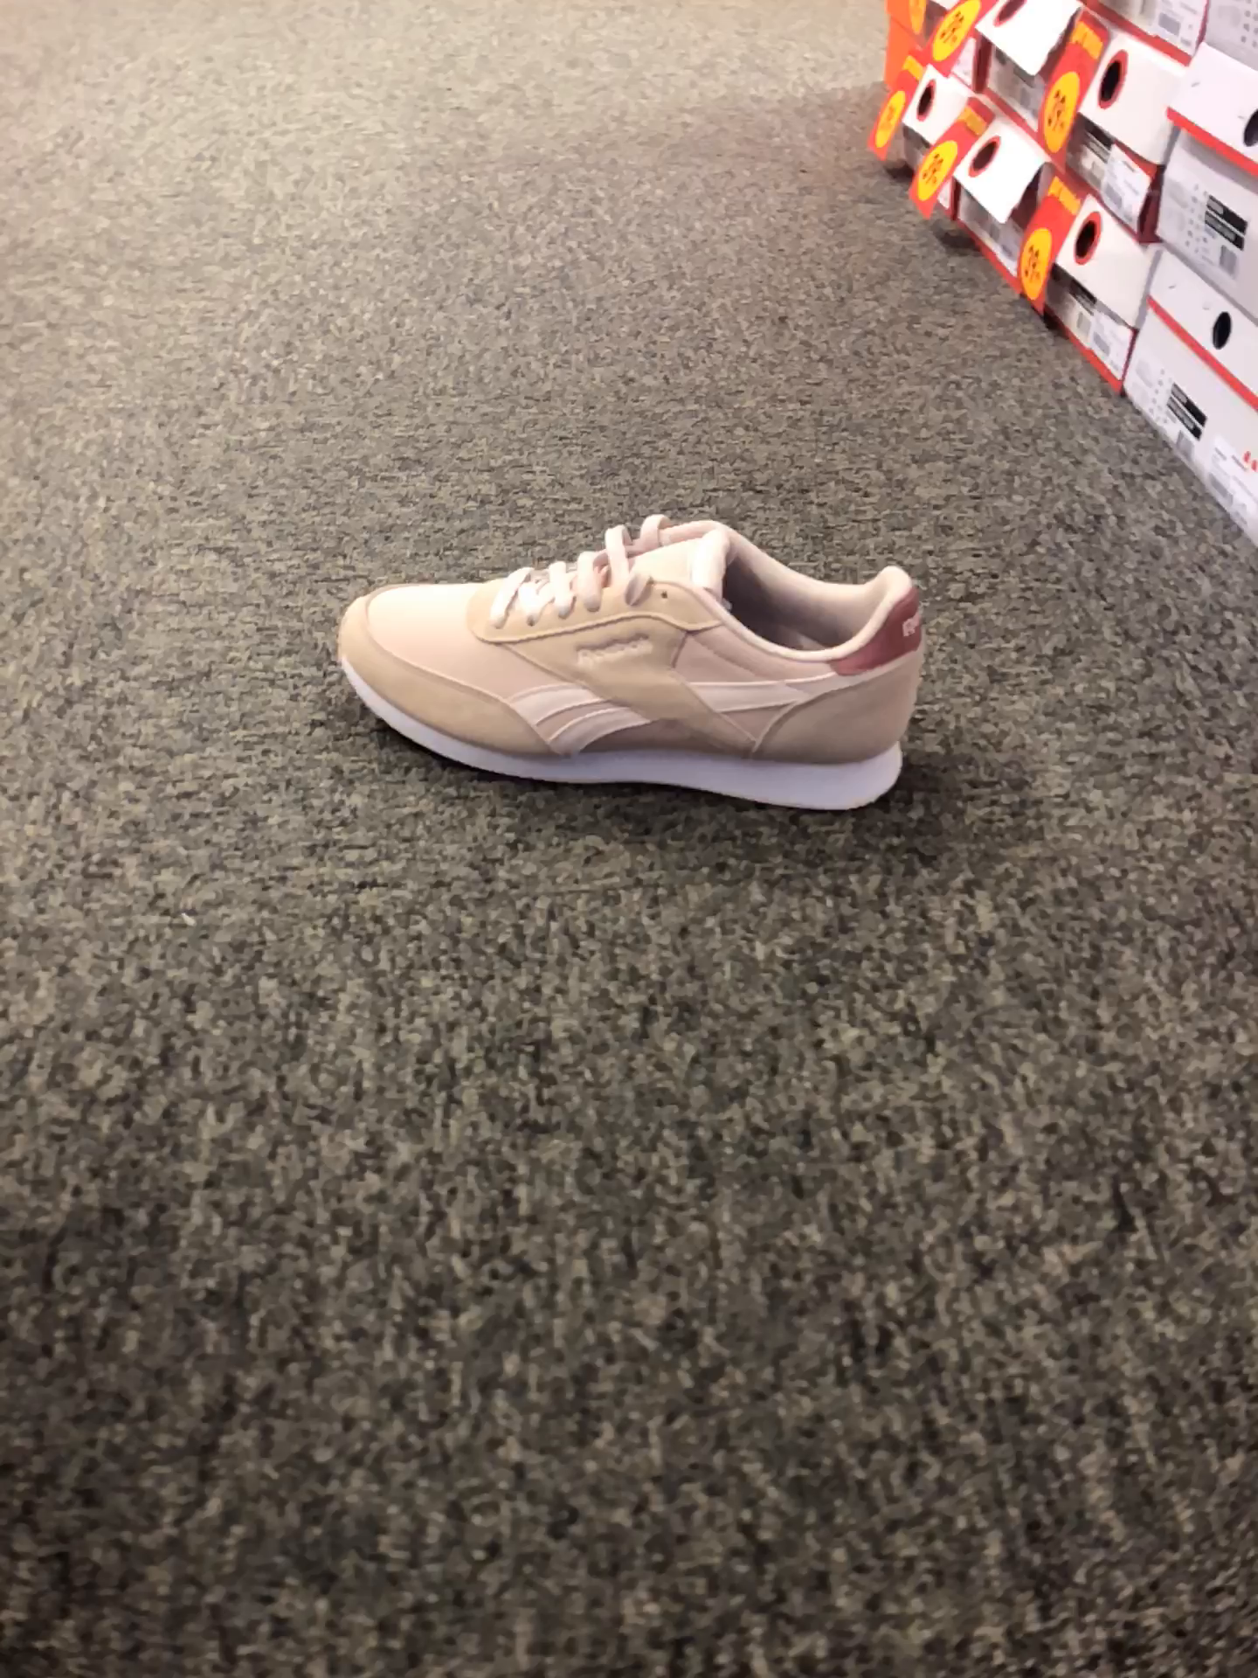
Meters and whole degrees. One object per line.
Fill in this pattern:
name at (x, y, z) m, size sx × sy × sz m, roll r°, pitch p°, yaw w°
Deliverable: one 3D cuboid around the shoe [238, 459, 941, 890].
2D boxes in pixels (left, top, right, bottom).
shoe at (-0.014, -0.076, 0.596) m, size 0.270 × 0.109 × 0.101 m, roll 10°, pitch 42°, yaw 12°
